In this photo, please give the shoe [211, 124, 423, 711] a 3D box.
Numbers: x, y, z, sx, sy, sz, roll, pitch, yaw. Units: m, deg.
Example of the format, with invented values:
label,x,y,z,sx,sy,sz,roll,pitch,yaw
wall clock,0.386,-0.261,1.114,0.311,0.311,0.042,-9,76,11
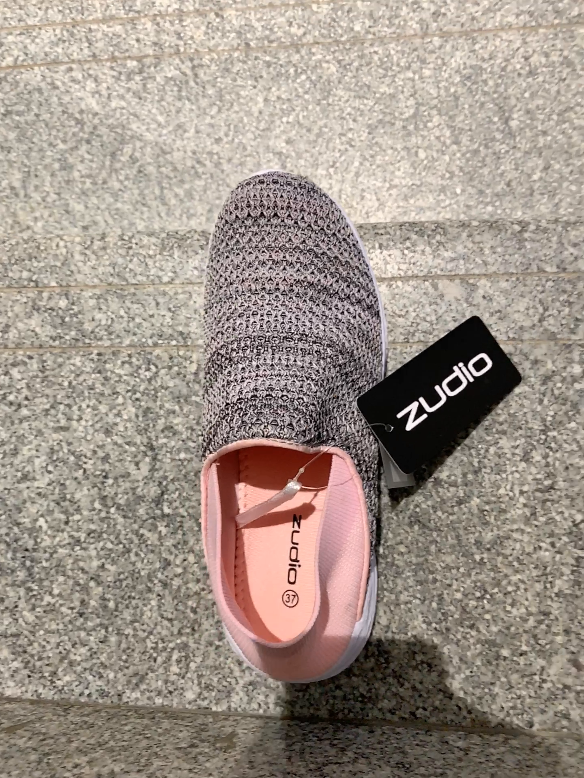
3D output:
label,x,y,z,sx,sy,sz,roll,pitch,yaw
shoe,0.013,0.012,0.302,0.090,0.080,0.250,-1,87,7
